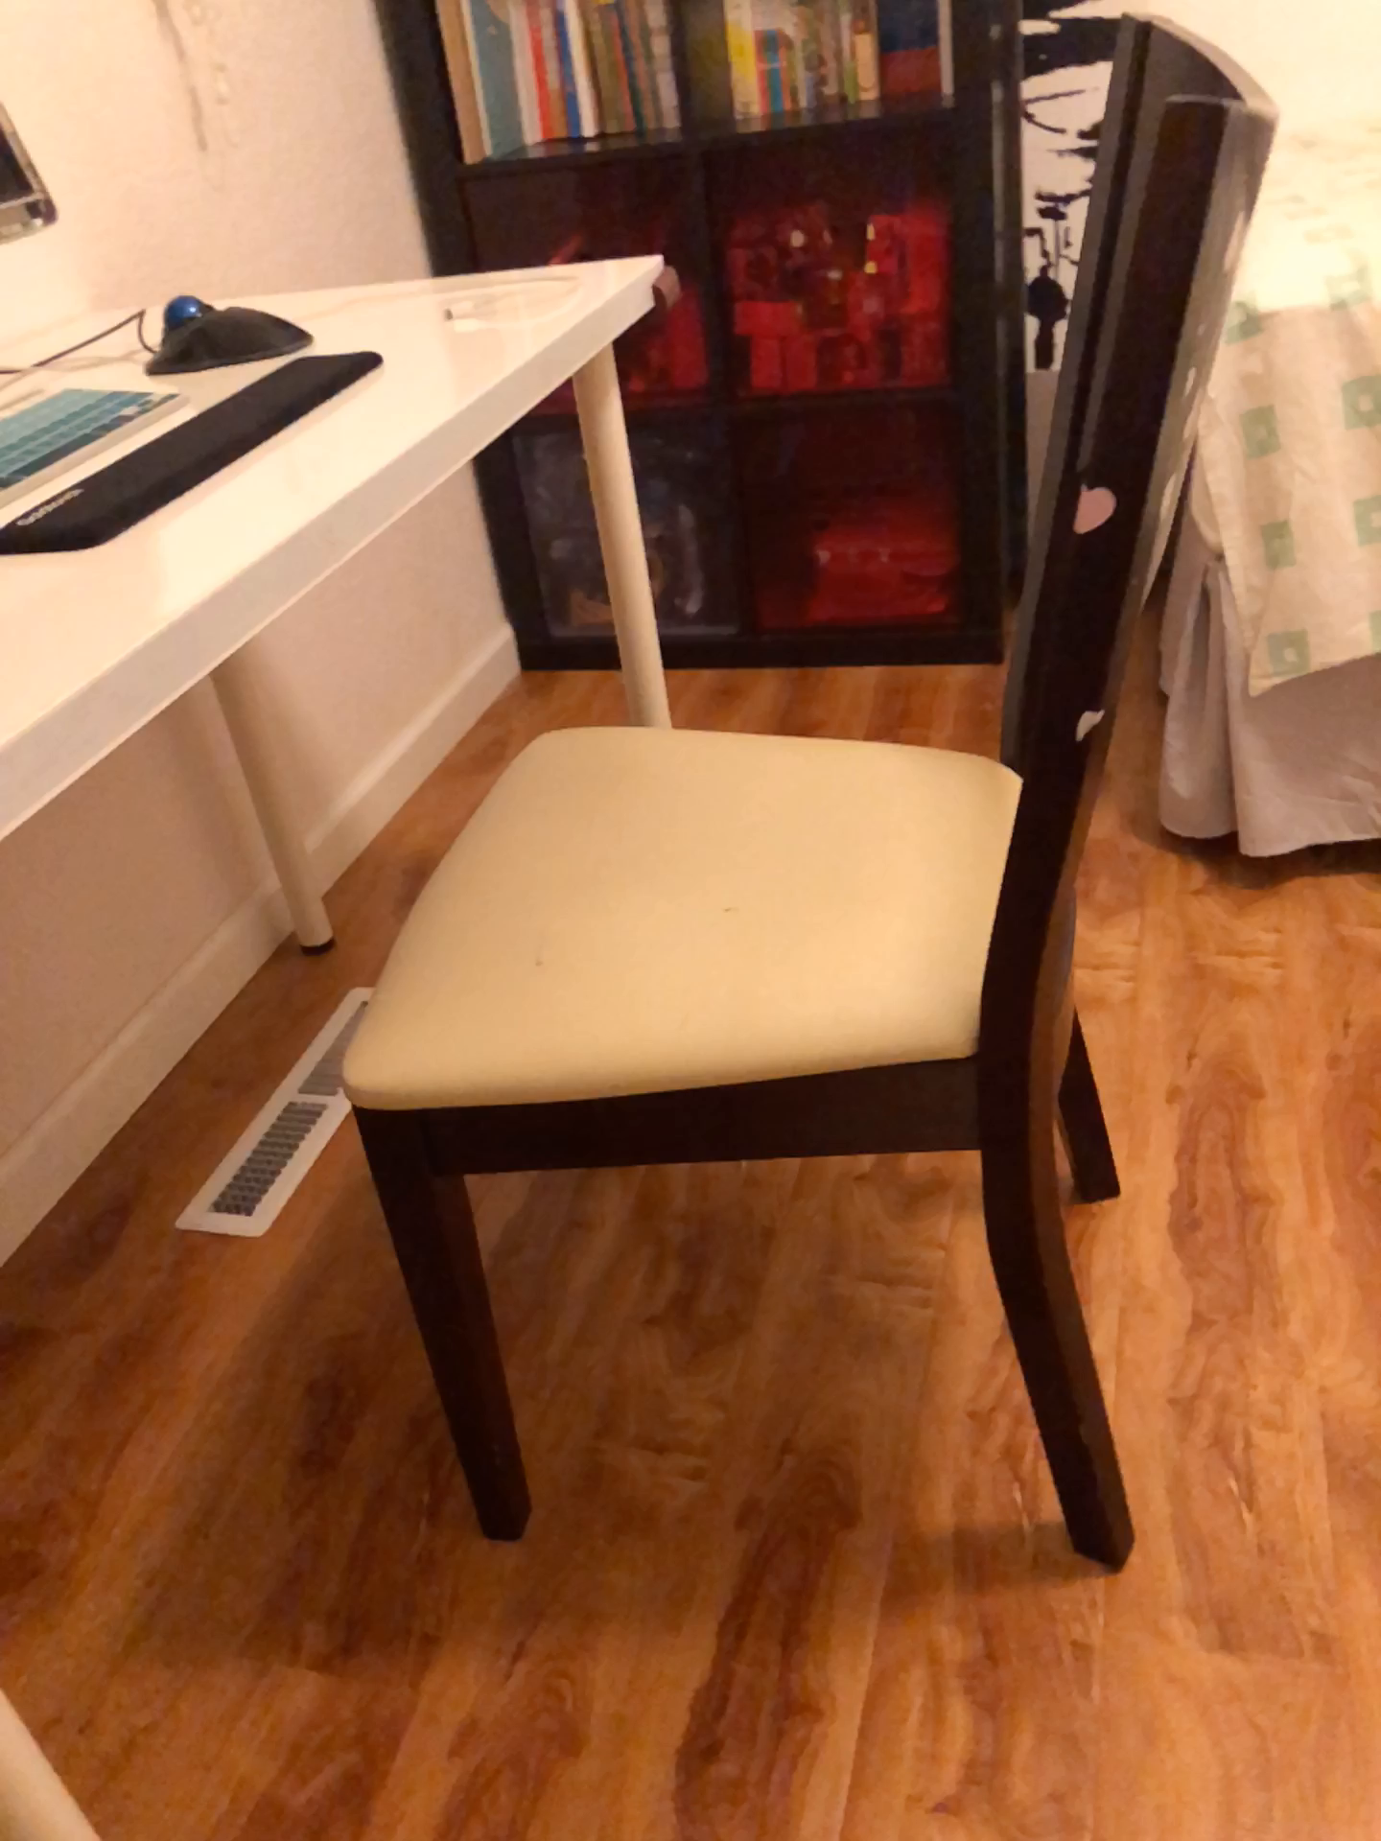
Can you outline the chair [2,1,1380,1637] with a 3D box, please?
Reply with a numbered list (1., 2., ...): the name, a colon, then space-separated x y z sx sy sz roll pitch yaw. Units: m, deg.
1. chair: 0.071 -0.063 0.977 0.510 0.845 0.533 0 33 11
